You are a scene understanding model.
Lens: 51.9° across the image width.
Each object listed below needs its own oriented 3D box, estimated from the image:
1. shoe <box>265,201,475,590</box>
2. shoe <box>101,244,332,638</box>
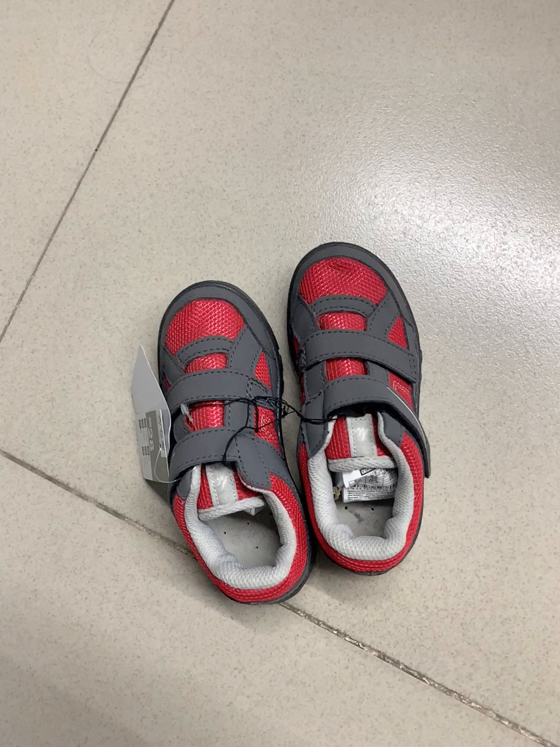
[{"bbox_3d":[0.047,0.013,0.333,0.080,0.080,0.190,-8,83,5],"label":"shoe"},{"bbox_3d":[-0.031,0.035,0.323,0.080,0.080,0.180,-13,83,4],"label":"shoe"}]
